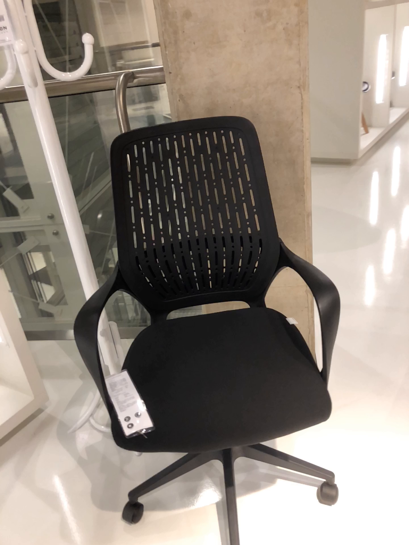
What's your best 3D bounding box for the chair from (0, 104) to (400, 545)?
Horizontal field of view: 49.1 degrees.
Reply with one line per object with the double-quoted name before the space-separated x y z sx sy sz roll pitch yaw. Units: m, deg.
"chair" 0.002 0.193 1.165 0.640 1.022 0.705 -7 28 2
